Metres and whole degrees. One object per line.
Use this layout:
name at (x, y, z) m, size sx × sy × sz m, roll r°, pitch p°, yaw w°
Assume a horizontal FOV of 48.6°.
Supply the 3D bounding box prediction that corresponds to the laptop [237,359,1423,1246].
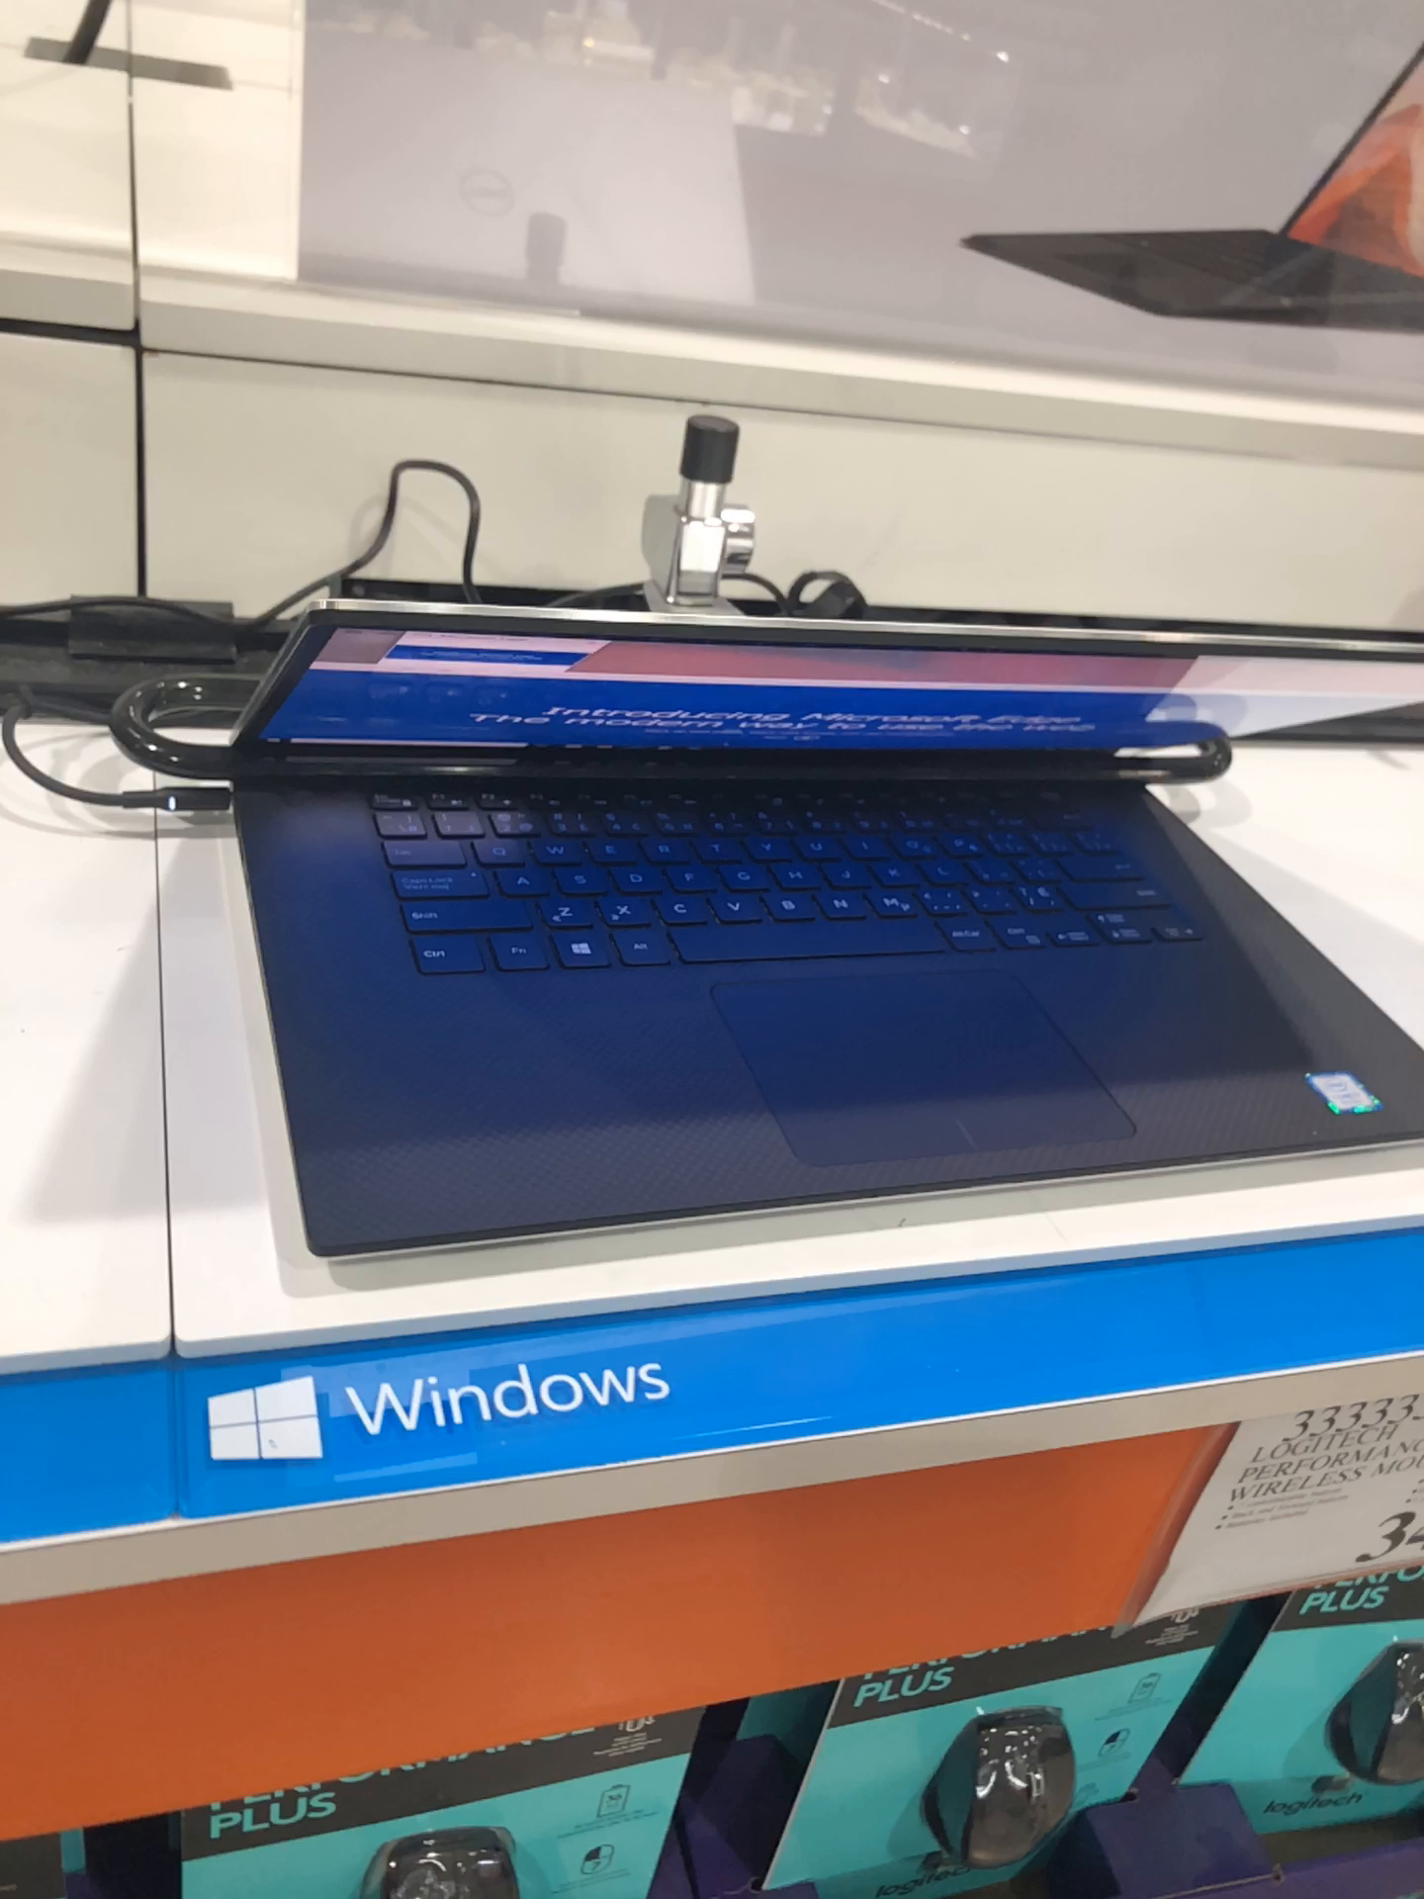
laptop at (0.050, -0.058, 0.466) m, size 0.345 × 0.133 × 0.218 m, roll -3°, pitch 36°, yaw -22°
